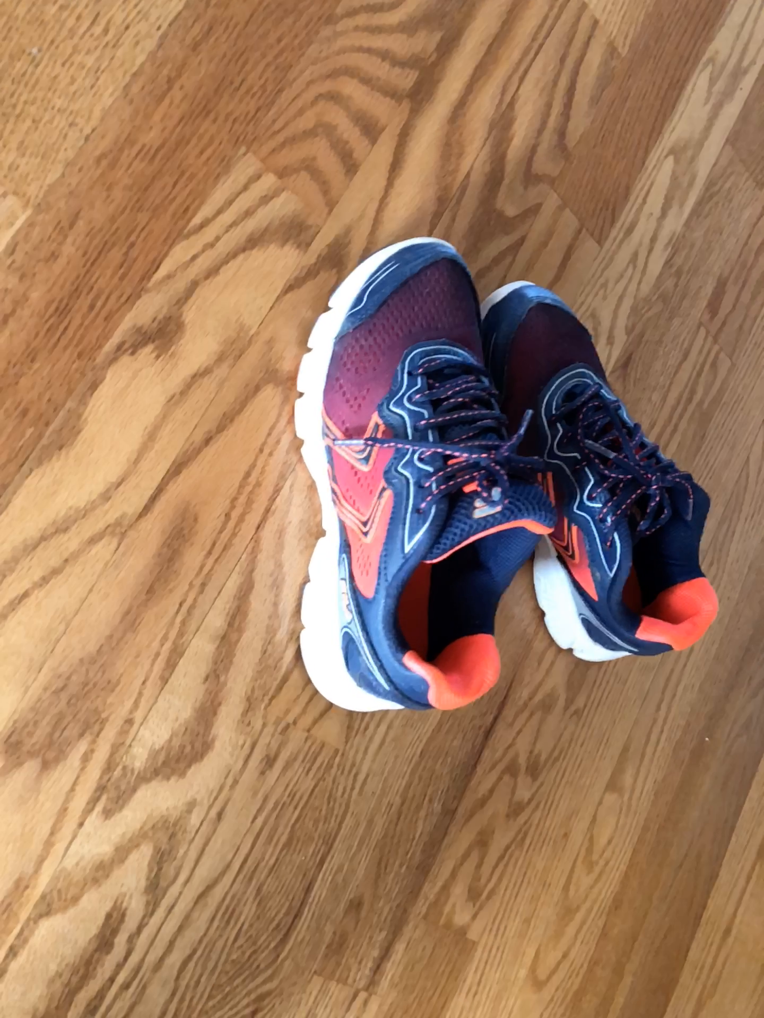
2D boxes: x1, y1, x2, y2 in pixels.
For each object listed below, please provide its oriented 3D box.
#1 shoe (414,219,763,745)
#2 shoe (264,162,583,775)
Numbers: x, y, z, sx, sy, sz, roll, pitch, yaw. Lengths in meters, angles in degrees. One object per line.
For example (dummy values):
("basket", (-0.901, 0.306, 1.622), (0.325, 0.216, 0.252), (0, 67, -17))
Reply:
("shoe", (0.138, -0.015, 0.523), (0.116, 0.109, 0.277), (-28, 107, -30))
("shoe", (0.019, -0.017, 0.443), (0.108, 0.109, 0.270), (4, 90, -34))
